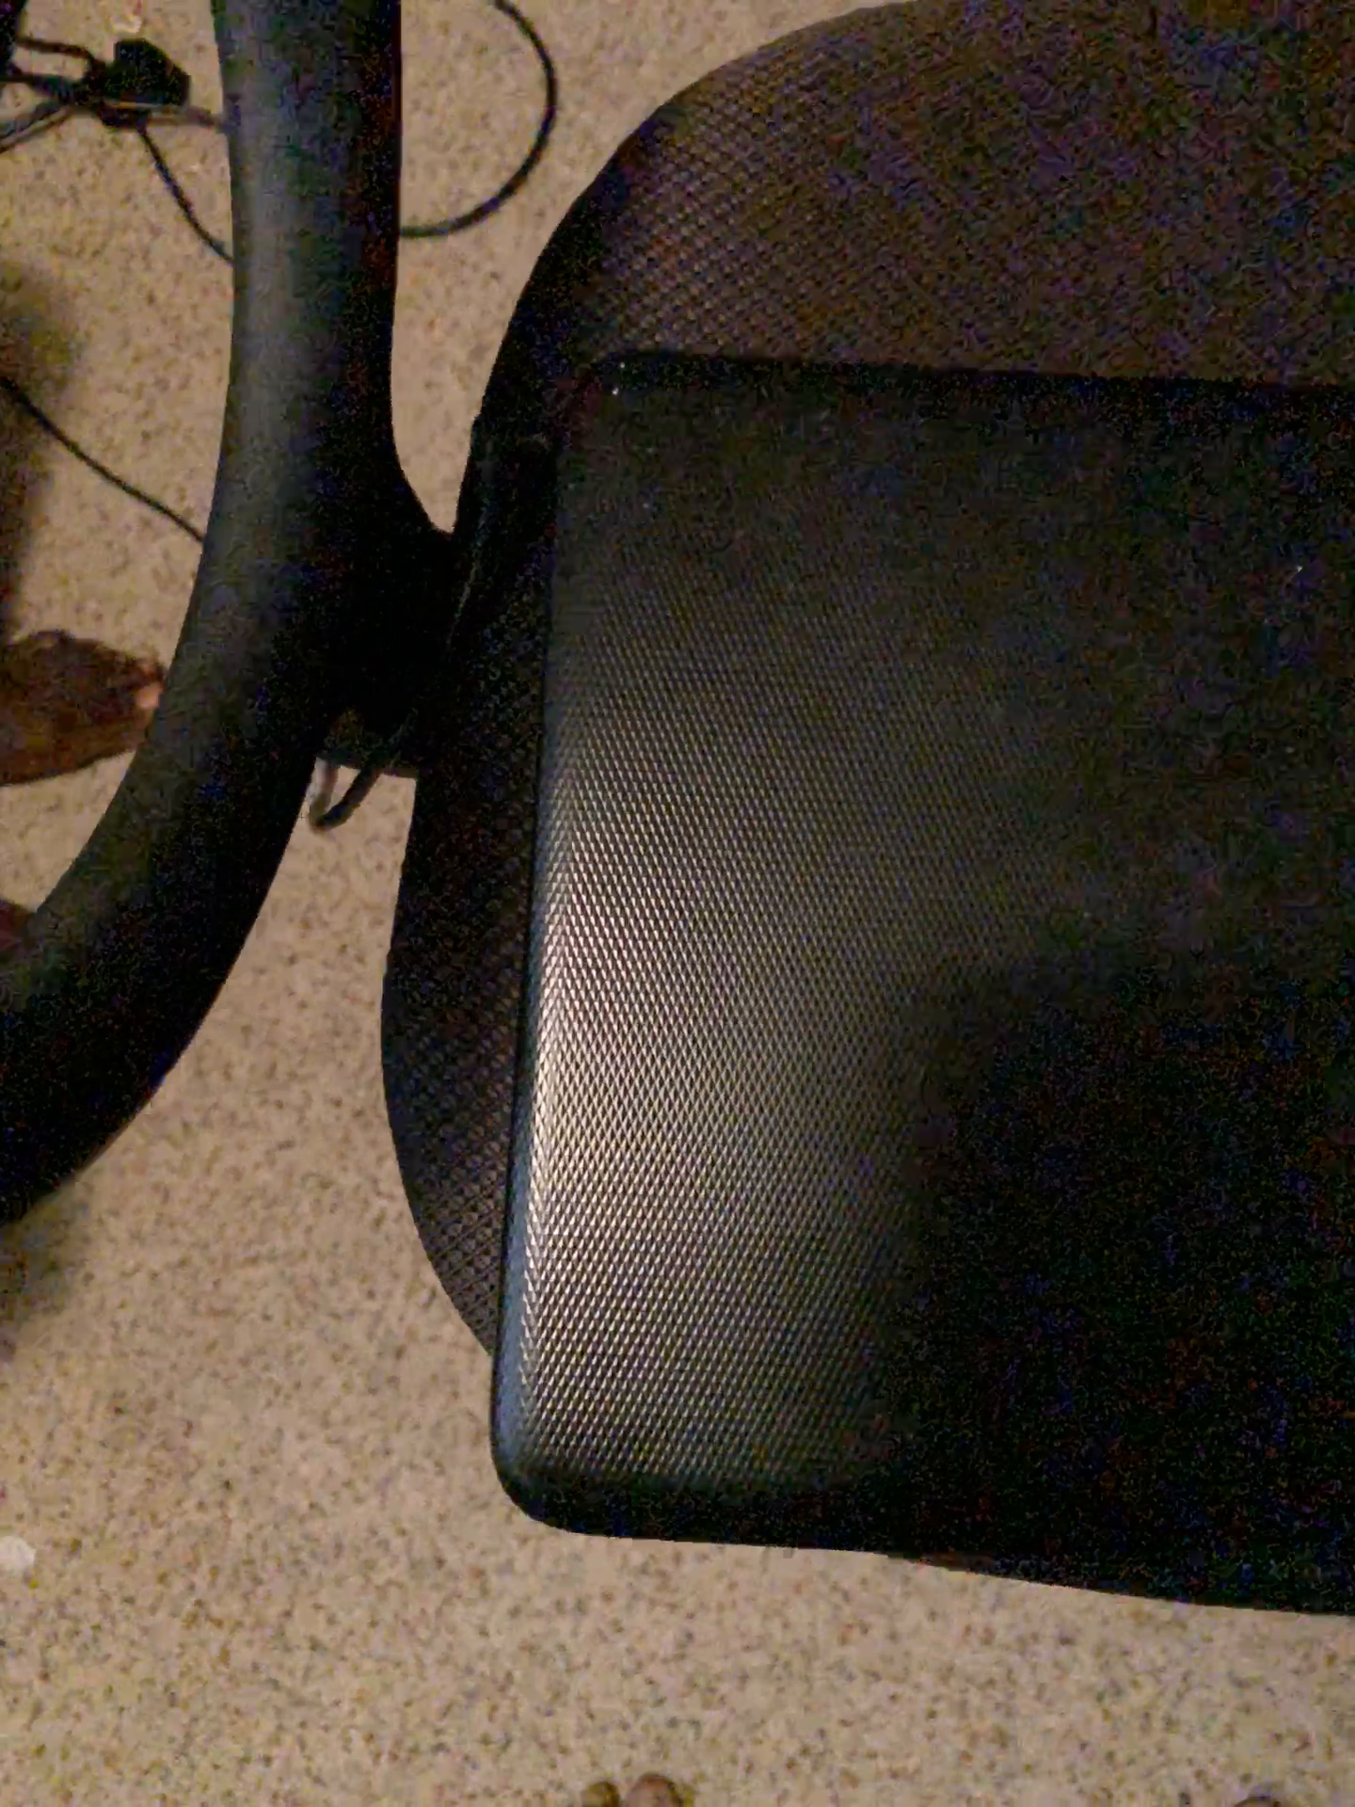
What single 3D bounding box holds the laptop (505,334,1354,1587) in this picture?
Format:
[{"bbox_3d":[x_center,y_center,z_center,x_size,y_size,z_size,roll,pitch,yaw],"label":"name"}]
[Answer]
[{"bbox_3d":[0.162,0.014,0.306,0.378,0.018,0.244,3,85,-3],"label":"laptop"}]
